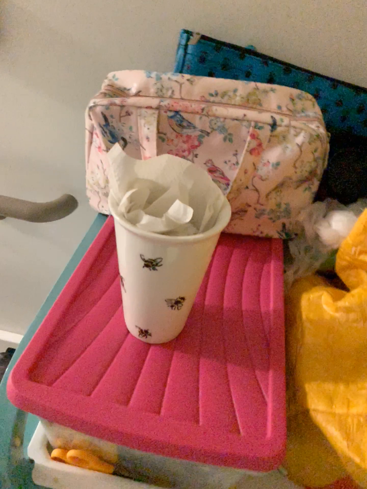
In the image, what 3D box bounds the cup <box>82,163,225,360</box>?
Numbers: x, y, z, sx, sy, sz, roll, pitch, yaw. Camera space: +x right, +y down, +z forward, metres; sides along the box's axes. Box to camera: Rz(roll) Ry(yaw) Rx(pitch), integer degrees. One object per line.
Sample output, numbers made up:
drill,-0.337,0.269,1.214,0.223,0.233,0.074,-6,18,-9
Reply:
cup,-0.022,0.013,0.311,0.090,0.112,0.099,10,38,0
